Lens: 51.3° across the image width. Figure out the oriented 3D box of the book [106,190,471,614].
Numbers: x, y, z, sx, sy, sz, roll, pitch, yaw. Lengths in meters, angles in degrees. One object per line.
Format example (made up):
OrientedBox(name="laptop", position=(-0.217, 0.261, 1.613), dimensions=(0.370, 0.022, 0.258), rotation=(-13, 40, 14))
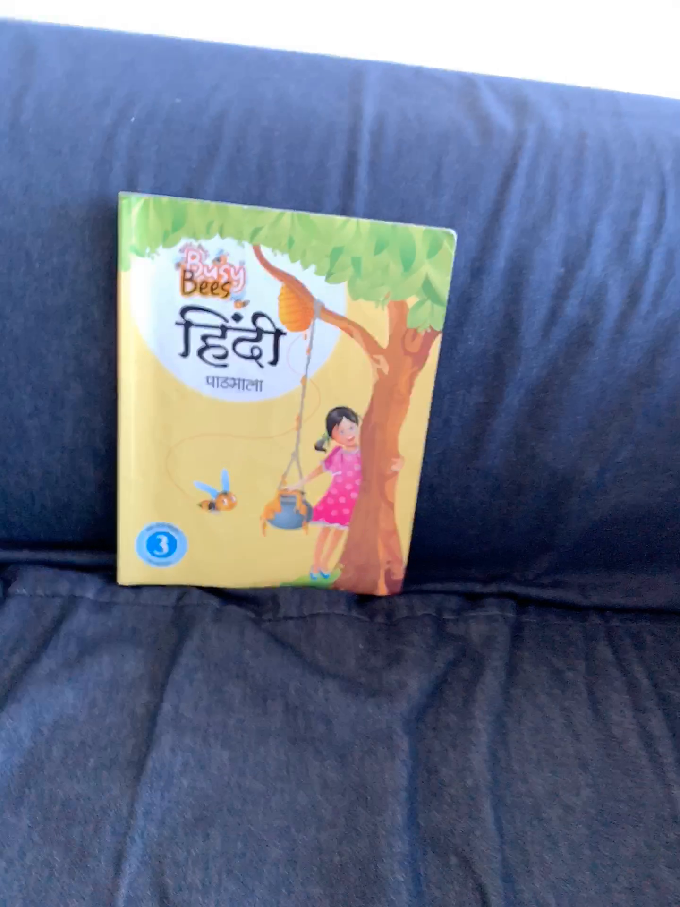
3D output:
OrientedBox(name="book", position=(-0.046, -0.025, 0.505), dimensions=(0.230, 0.284, 0.029), rotation=(5, 18, -4))
